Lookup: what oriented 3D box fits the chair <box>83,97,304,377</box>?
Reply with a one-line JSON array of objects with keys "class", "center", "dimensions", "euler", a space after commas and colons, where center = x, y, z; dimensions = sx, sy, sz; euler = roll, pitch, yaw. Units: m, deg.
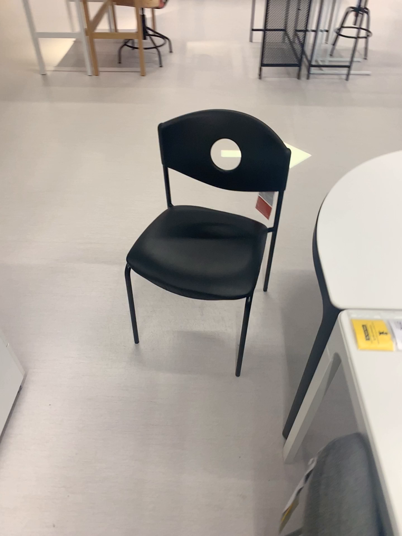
[{"class": "chair", "center": [0.012, -0.109, 1.498], "dimensions": [0.510, 0.737, 0.582], "euler": [13, 46, 12]}]
